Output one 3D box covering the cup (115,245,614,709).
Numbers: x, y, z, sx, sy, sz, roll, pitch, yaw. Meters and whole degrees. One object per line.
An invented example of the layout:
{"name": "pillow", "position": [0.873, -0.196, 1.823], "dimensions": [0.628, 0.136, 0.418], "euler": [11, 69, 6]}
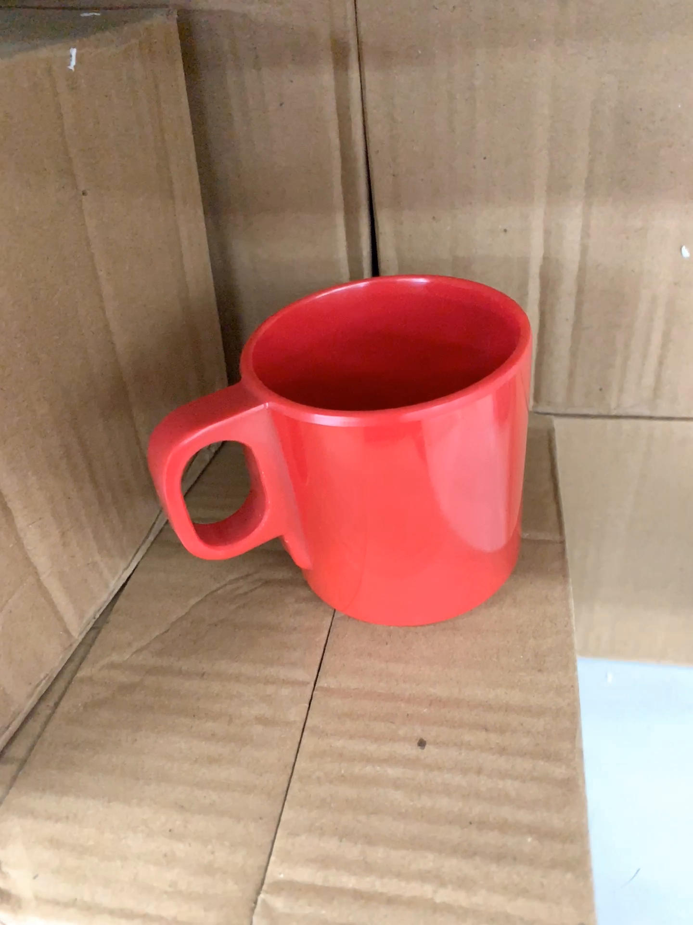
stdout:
{"name": "cup", "position": [0.004, -0.001, 0.198], "dimensions": [0.103, 0.073, 0.066], "euler": [-20, 40, -14]}
